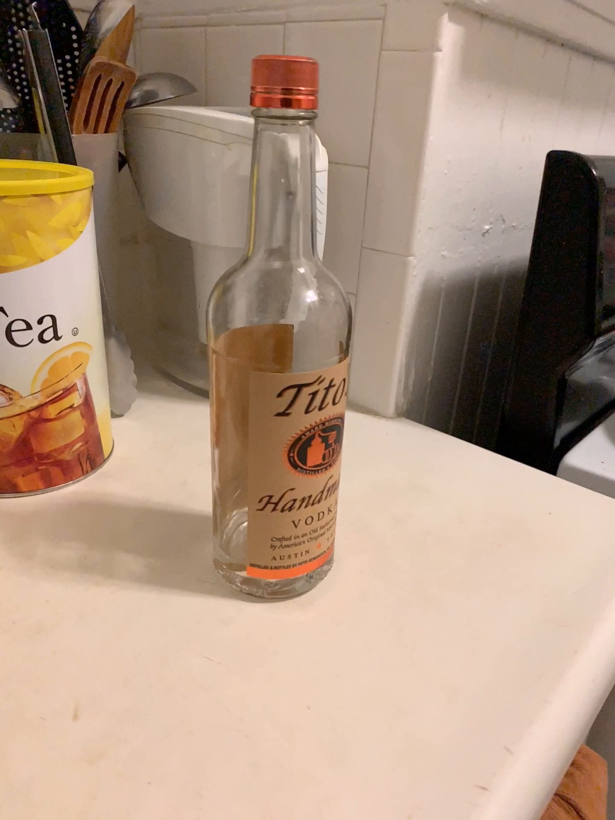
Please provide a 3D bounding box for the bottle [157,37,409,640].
[{"bbox_3d":[-0.020,-0.028,0.342,0.080,0.288,0.080,3,24,-1],"label":"bottle"}]
